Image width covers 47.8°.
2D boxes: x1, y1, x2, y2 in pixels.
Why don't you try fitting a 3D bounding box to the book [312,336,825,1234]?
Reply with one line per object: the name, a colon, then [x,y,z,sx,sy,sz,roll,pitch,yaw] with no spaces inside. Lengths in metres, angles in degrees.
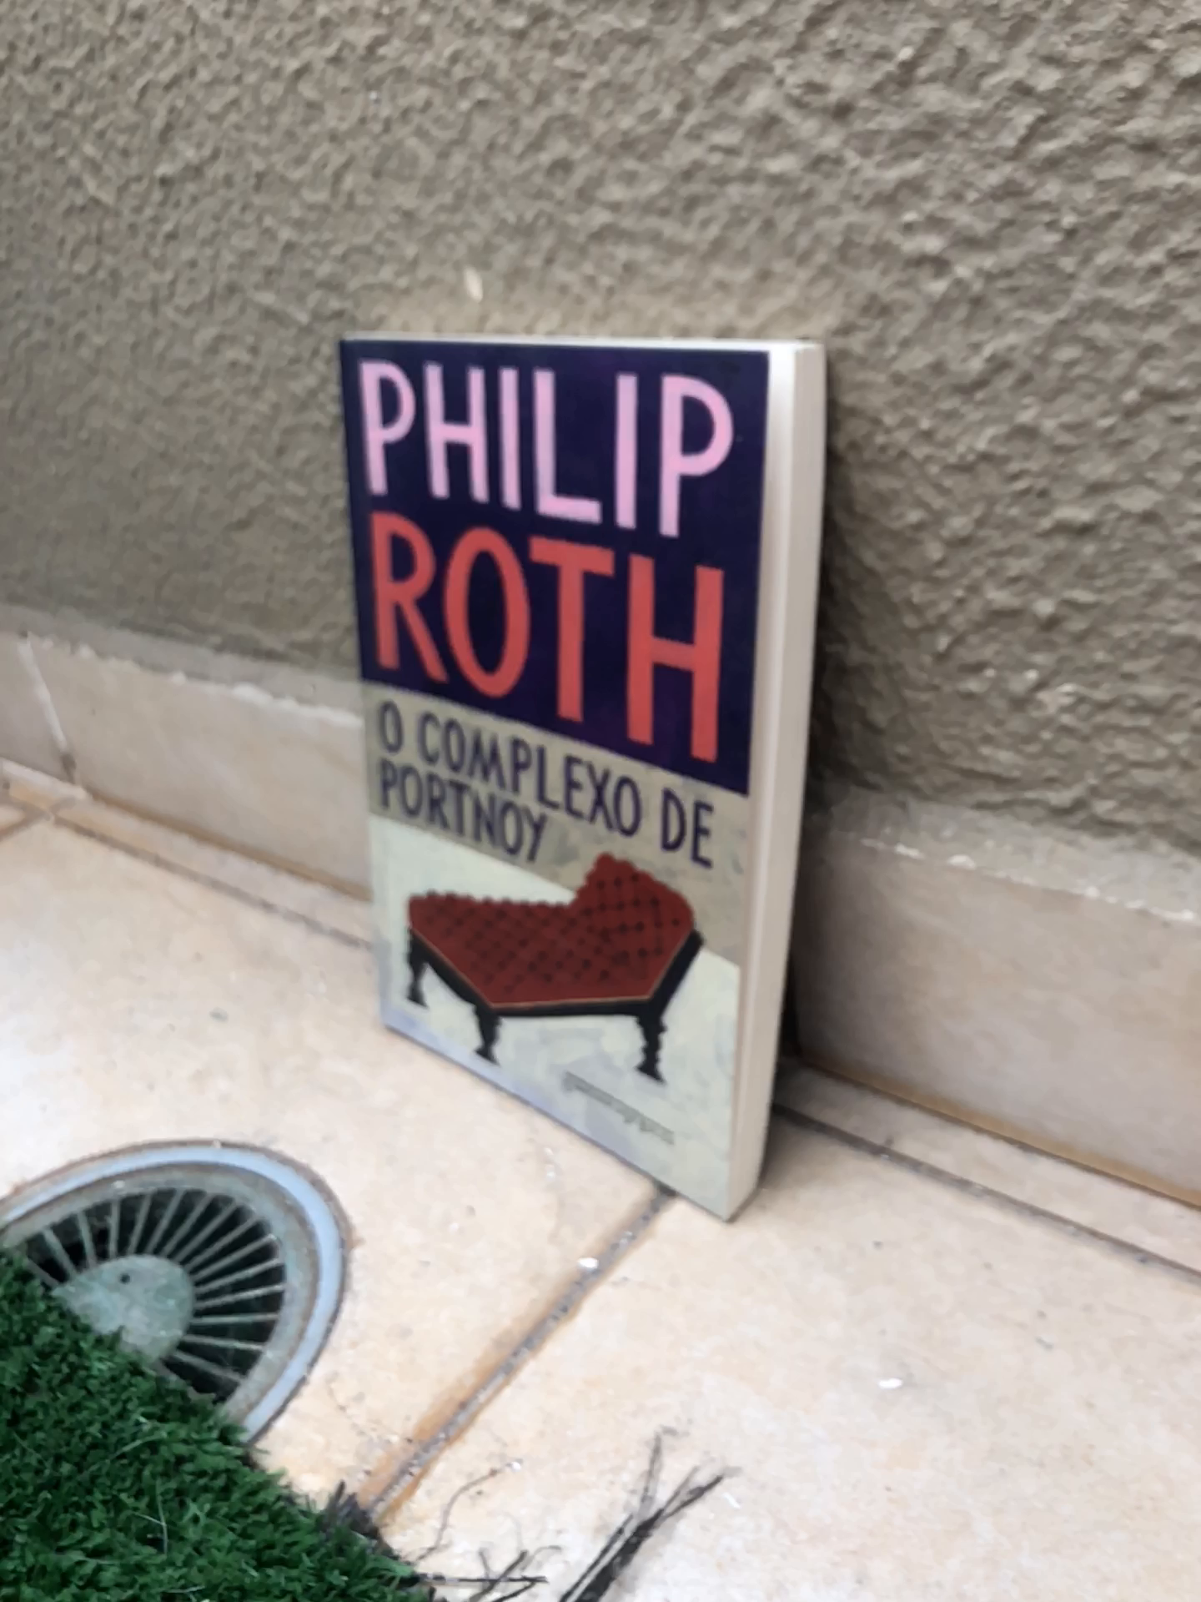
book: [-0.011,-0.010,0.307,0.126,0.178,0.023,18,28,42]
